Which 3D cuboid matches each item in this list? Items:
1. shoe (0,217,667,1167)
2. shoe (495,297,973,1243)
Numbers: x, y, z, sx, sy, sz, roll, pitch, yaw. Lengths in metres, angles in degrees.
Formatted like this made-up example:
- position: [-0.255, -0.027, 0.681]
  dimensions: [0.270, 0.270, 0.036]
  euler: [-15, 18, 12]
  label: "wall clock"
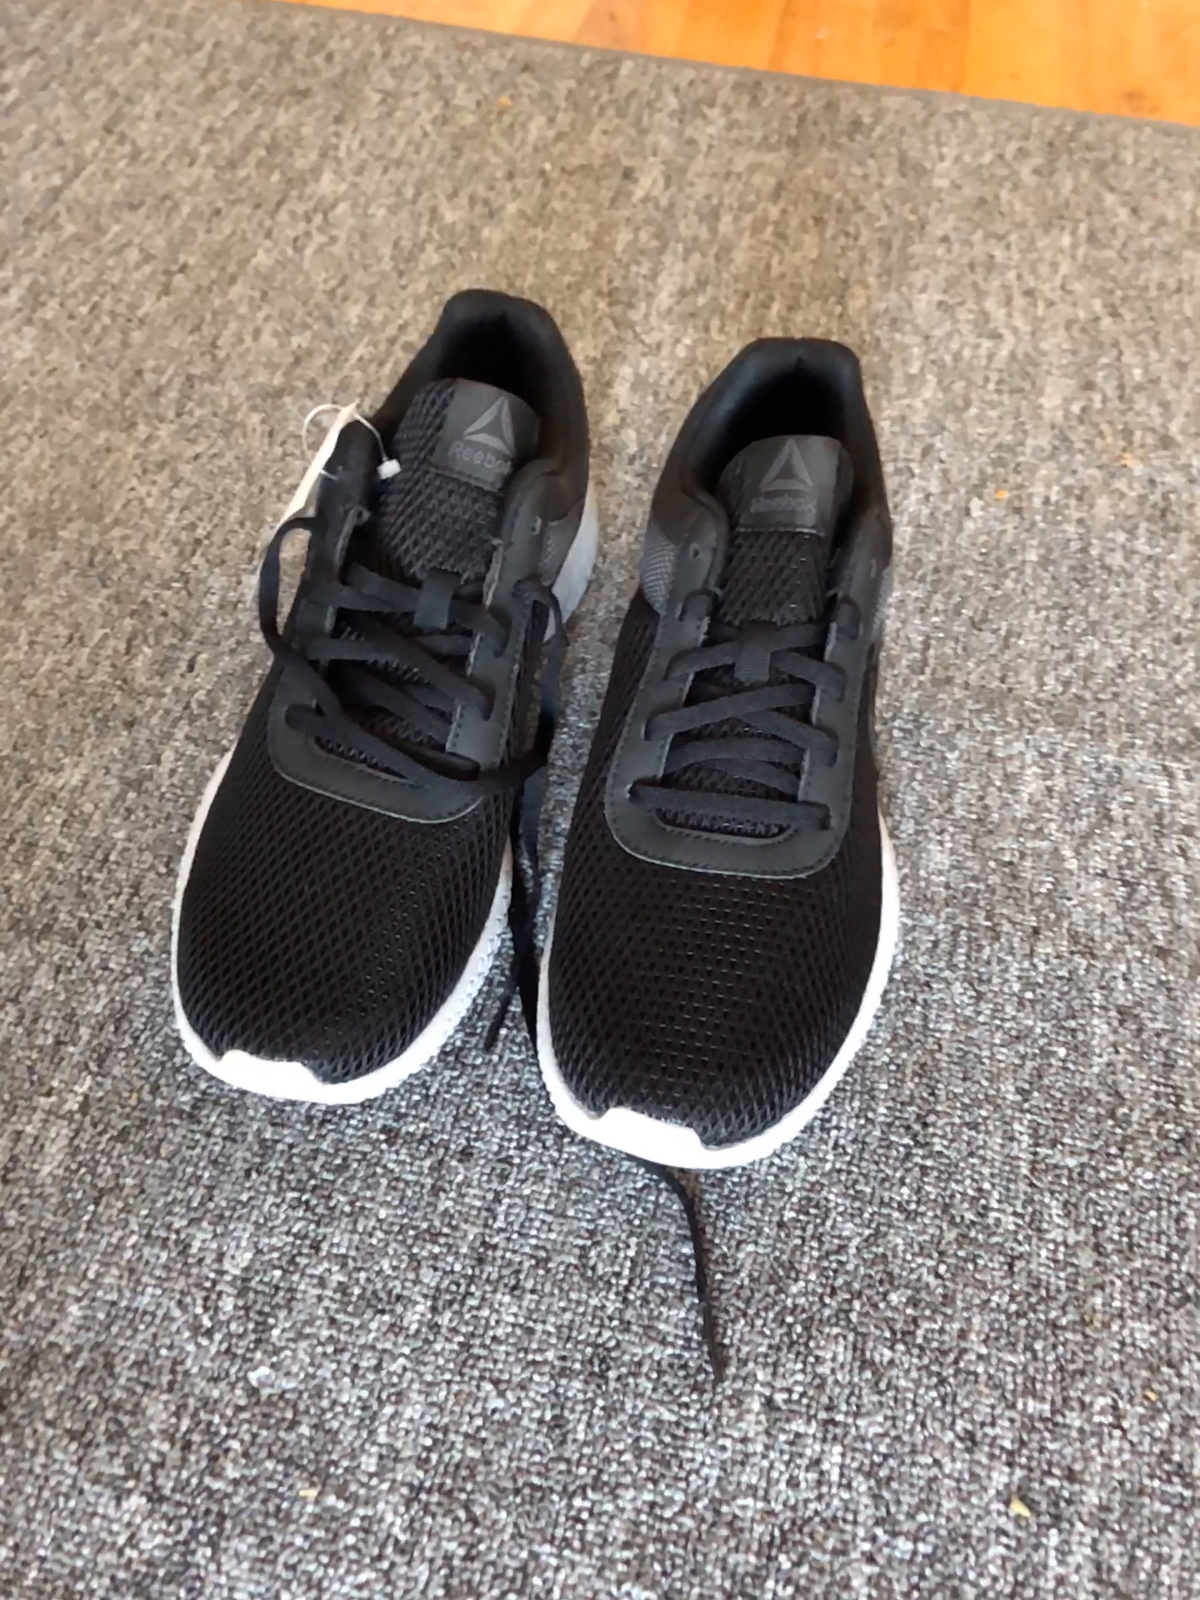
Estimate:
- position: [-0.065, -0.054, 0.432]
  dimensions: [0.116, 0.099, 0.302]
  euler: [10, 55, 6]
  label: "shoe"
- position: [0.054, -0.028, 0.439]
  dimensions: [0.110, 0.099, 0.302]
  euler: [9, 55, 5]
  label: "shoe"
